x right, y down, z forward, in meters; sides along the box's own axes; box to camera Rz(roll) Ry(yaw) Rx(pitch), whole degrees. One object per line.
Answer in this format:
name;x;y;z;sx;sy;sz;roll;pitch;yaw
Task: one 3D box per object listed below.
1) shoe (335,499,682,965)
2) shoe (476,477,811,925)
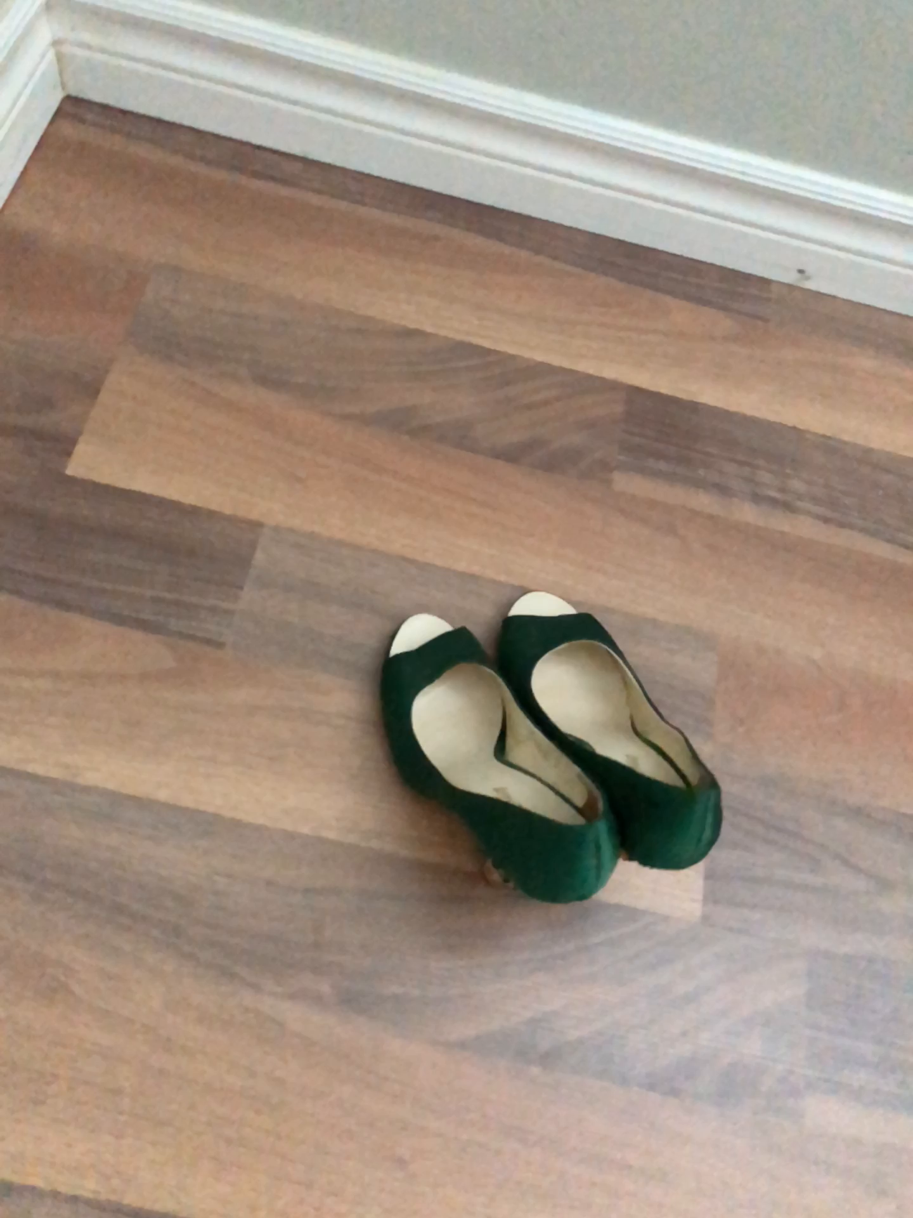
shoe;0.016;0.070;0.559;0.090;0.130;0.210;-18;69;-18
shoe;0.092;0.054;0.572;0.090;0.130;0.210;-9;66;-15
